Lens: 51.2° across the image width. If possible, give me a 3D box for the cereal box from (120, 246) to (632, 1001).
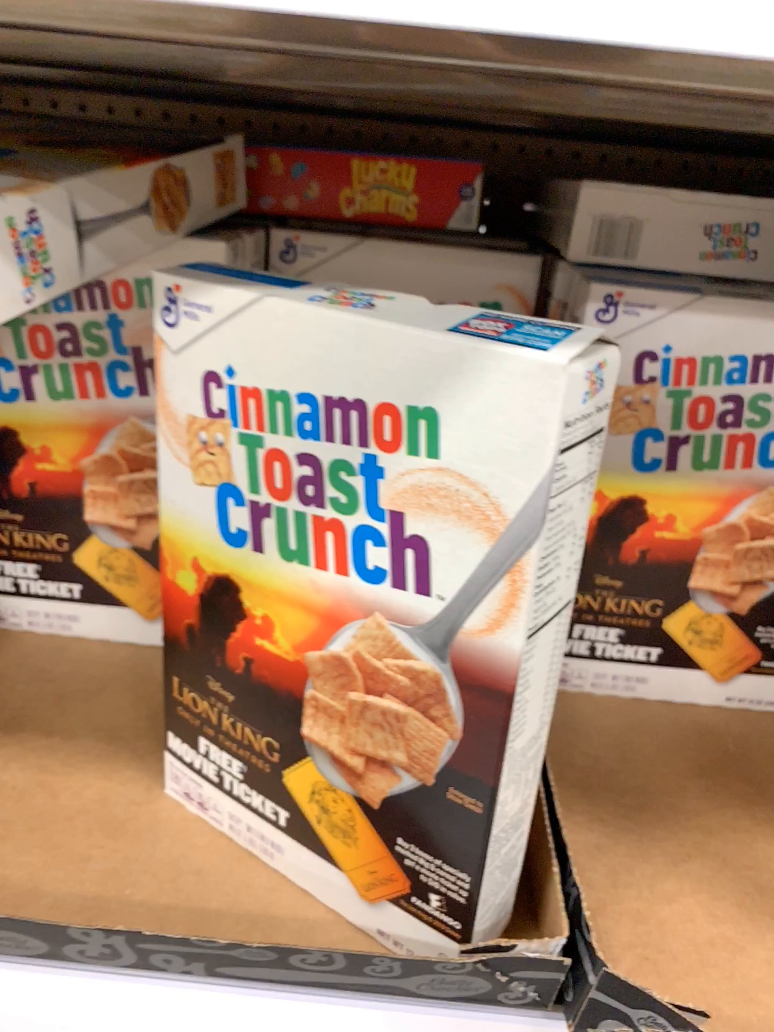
[{"bbox_3d":[-0.022,0.041,0.355,0.190,0.279,0.060,20,28,30],"label":"cereal box"}]
